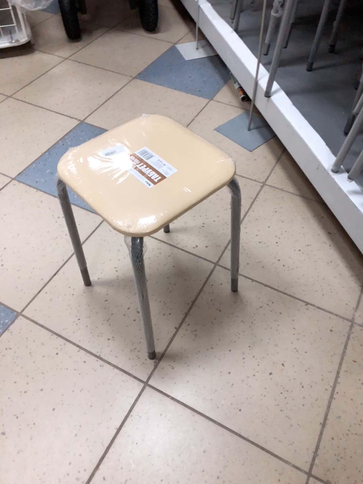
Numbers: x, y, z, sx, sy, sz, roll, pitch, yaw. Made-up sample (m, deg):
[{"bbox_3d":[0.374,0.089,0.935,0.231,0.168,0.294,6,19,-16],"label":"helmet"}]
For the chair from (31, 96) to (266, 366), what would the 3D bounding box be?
[{"bbox_3d":[-0.069,-0.020,0.932,0.311,0.437,0.341,-33,58,-25],"label":"chair"}]
